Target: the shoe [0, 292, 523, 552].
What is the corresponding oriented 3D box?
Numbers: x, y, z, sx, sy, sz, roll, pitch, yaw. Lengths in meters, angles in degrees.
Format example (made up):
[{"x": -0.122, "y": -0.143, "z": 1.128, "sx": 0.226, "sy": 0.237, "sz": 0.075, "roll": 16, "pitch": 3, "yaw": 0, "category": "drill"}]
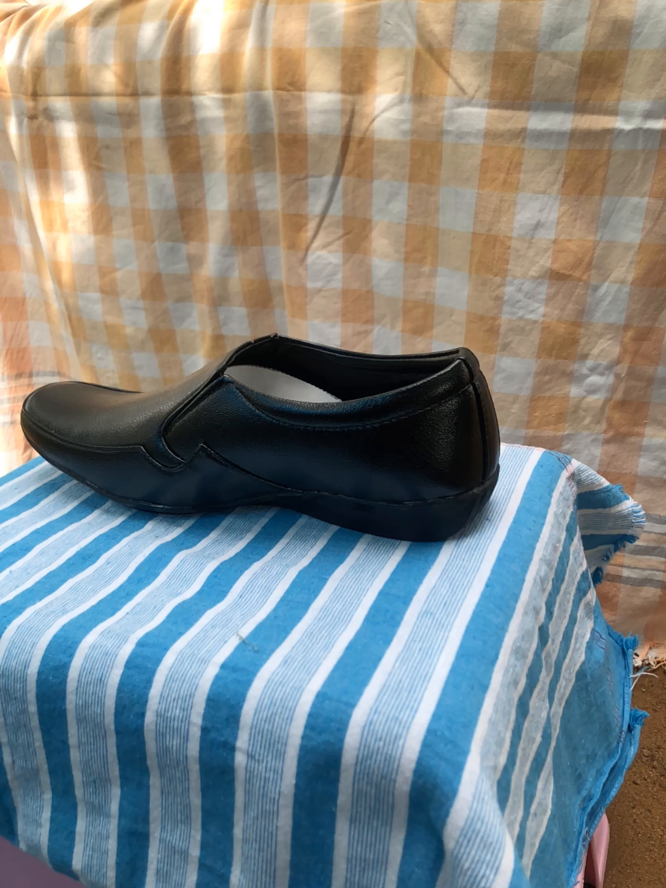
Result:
[{"x": -0.045, "y": -0.025, "z": 0.445, "sx": 0.300, "sy": 0.109, "sz": 0.101, "roll": 4, "pitch": 25, "yaw": 16, "category": "shoe"}]
